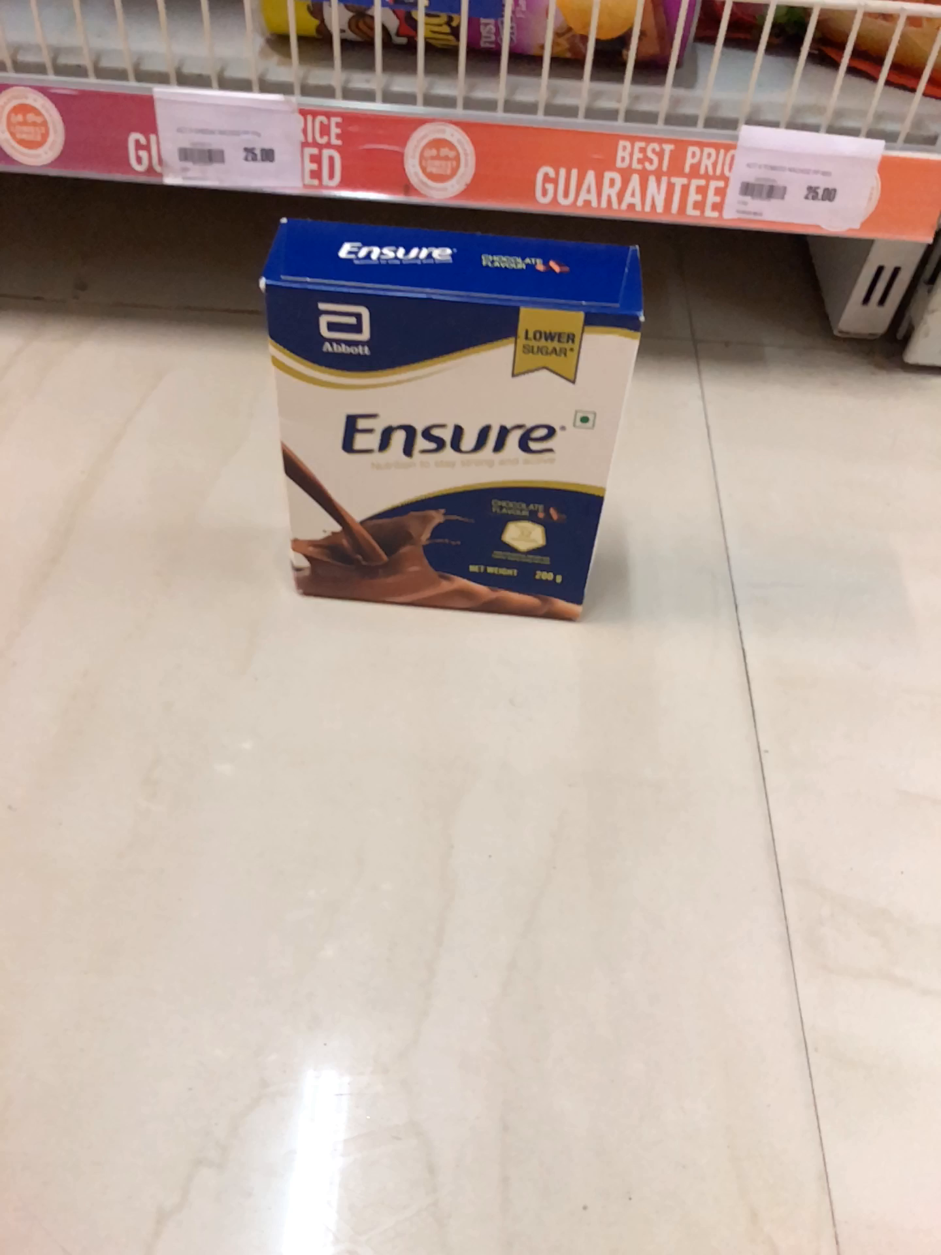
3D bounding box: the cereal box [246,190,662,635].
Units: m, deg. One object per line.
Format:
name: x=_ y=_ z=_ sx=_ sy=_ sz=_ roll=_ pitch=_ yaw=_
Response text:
cereal box: x=-0.008 y=-0.078 z=0.436 sx=0.140 sy=0.179 sz=0.050 roll=5 pitch=51 yaw=0
